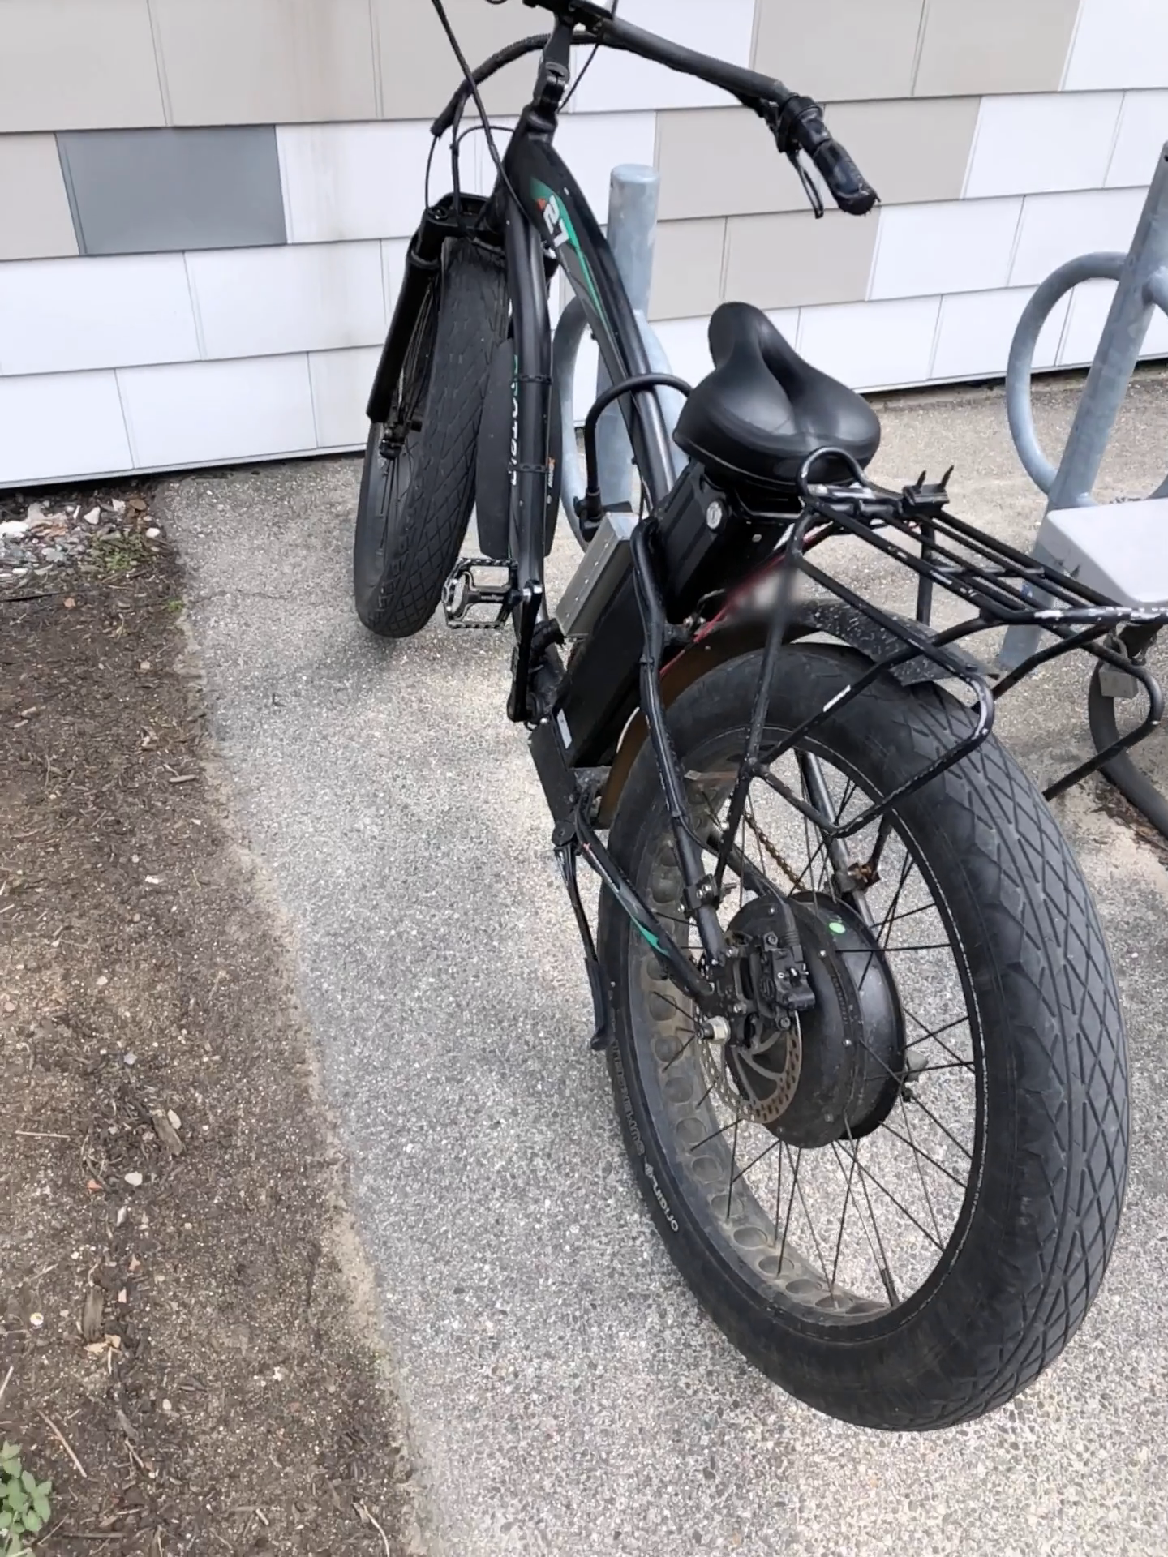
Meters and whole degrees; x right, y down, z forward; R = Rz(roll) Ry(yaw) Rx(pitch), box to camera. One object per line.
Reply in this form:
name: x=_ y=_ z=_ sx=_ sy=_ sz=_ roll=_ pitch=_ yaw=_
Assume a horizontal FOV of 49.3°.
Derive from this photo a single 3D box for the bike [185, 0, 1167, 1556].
bike: x=0.130 y=-0.444 z=1.677 sx=0.878 sy=1.170 sz=2.123 roll=-11 pitch=46 yaw=-16
